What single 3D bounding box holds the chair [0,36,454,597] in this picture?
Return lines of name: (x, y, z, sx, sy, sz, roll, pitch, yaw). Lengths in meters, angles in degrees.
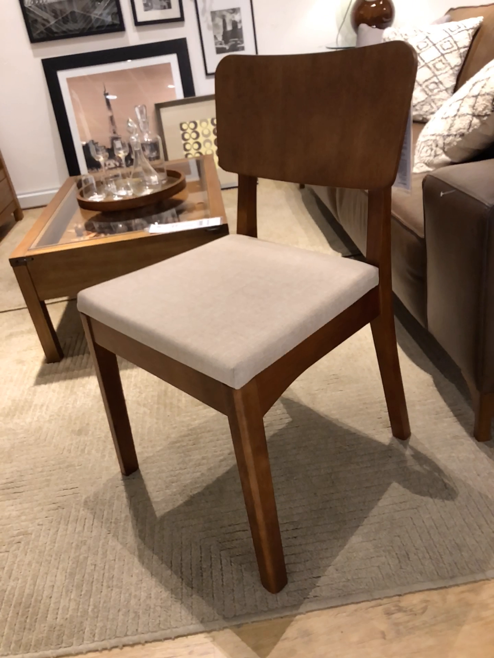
chair: (0.009, -0.069, 1.061, 0.532, 0.794, 0.512, -31, 36, -34)
